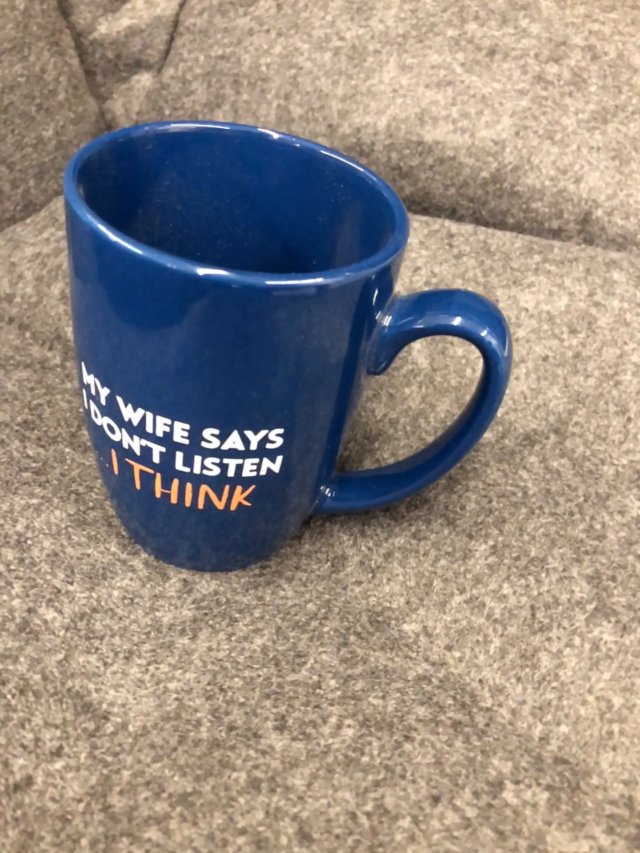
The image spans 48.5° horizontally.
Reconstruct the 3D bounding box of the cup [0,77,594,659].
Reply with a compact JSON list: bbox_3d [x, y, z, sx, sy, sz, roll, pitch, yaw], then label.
[{"bbox_3d":[-0.007,-0.021,0.214,0.130,0.109,0.091,19,45,12],"label":"cup"}]
